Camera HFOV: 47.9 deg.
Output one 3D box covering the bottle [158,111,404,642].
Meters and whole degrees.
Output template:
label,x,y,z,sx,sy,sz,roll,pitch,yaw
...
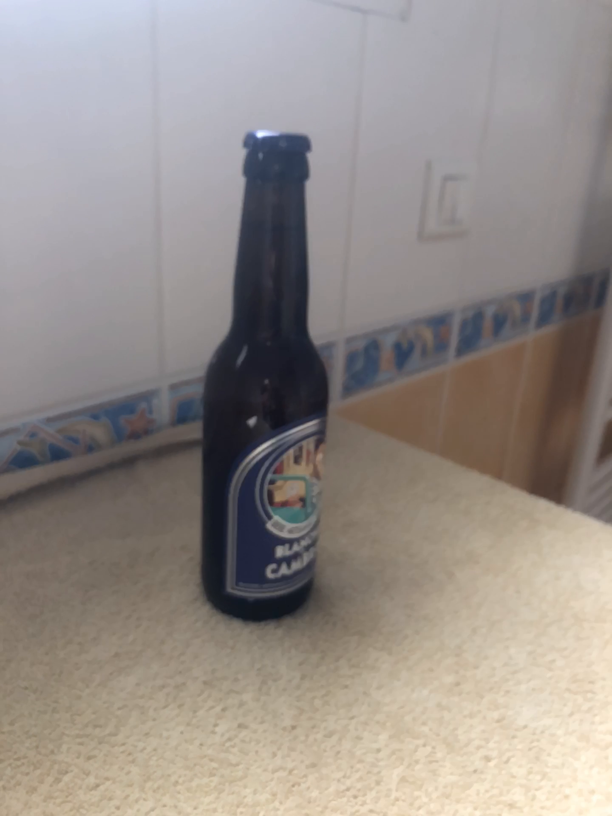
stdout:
label,x,y,z,sx,sy,sz,roll,pitch,yaw
bottle,-0.015,-0.015,0.317,0.070,0.219,0.070,3,21,-1
